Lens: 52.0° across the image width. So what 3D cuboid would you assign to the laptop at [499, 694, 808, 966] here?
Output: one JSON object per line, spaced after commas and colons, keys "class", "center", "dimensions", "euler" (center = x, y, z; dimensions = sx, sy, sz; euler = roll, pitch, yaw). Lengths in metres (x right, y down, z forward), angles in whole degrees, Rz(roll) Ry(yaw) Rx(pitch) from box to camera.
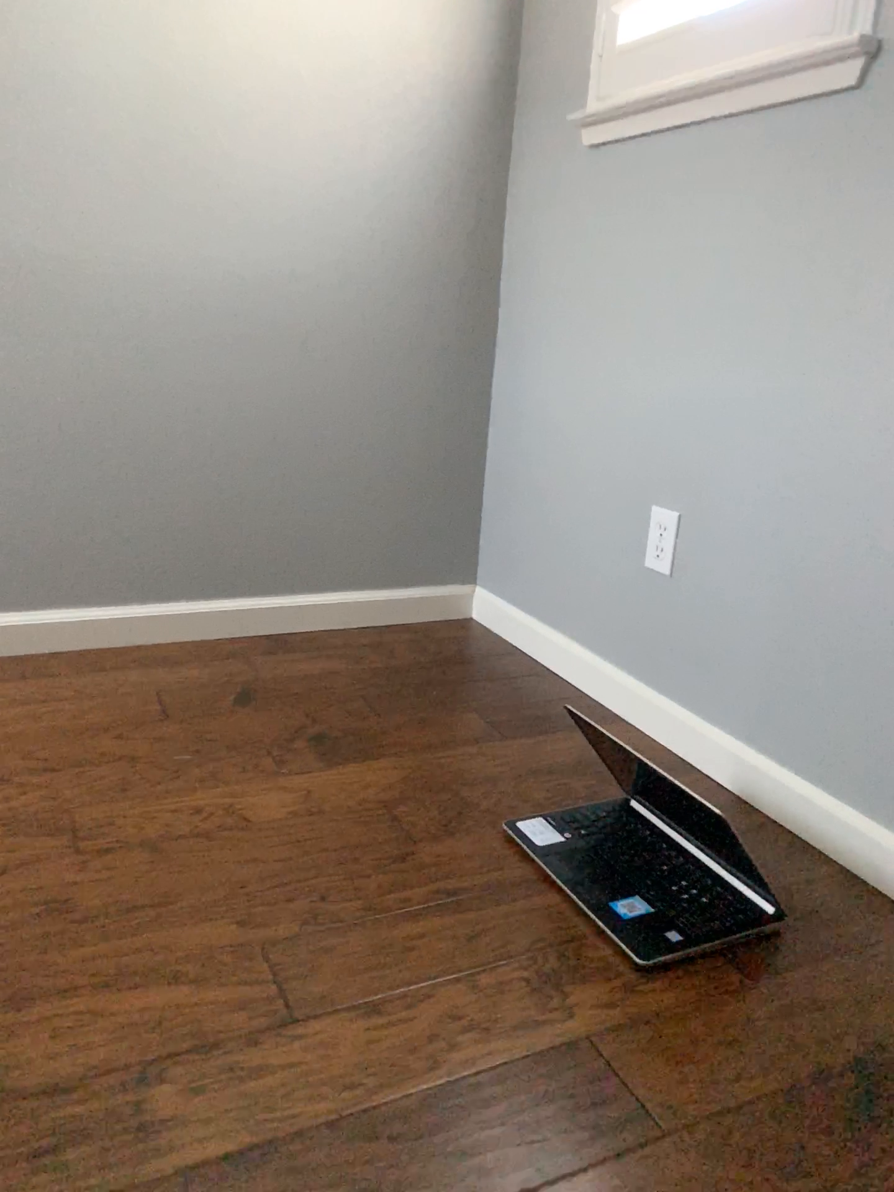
{"class": "laptop", "center": [0.247, 0.275, 1.176], "dimensions": [0.219, 0.169, 0.318], "euler": [-4, 17, -27]}
